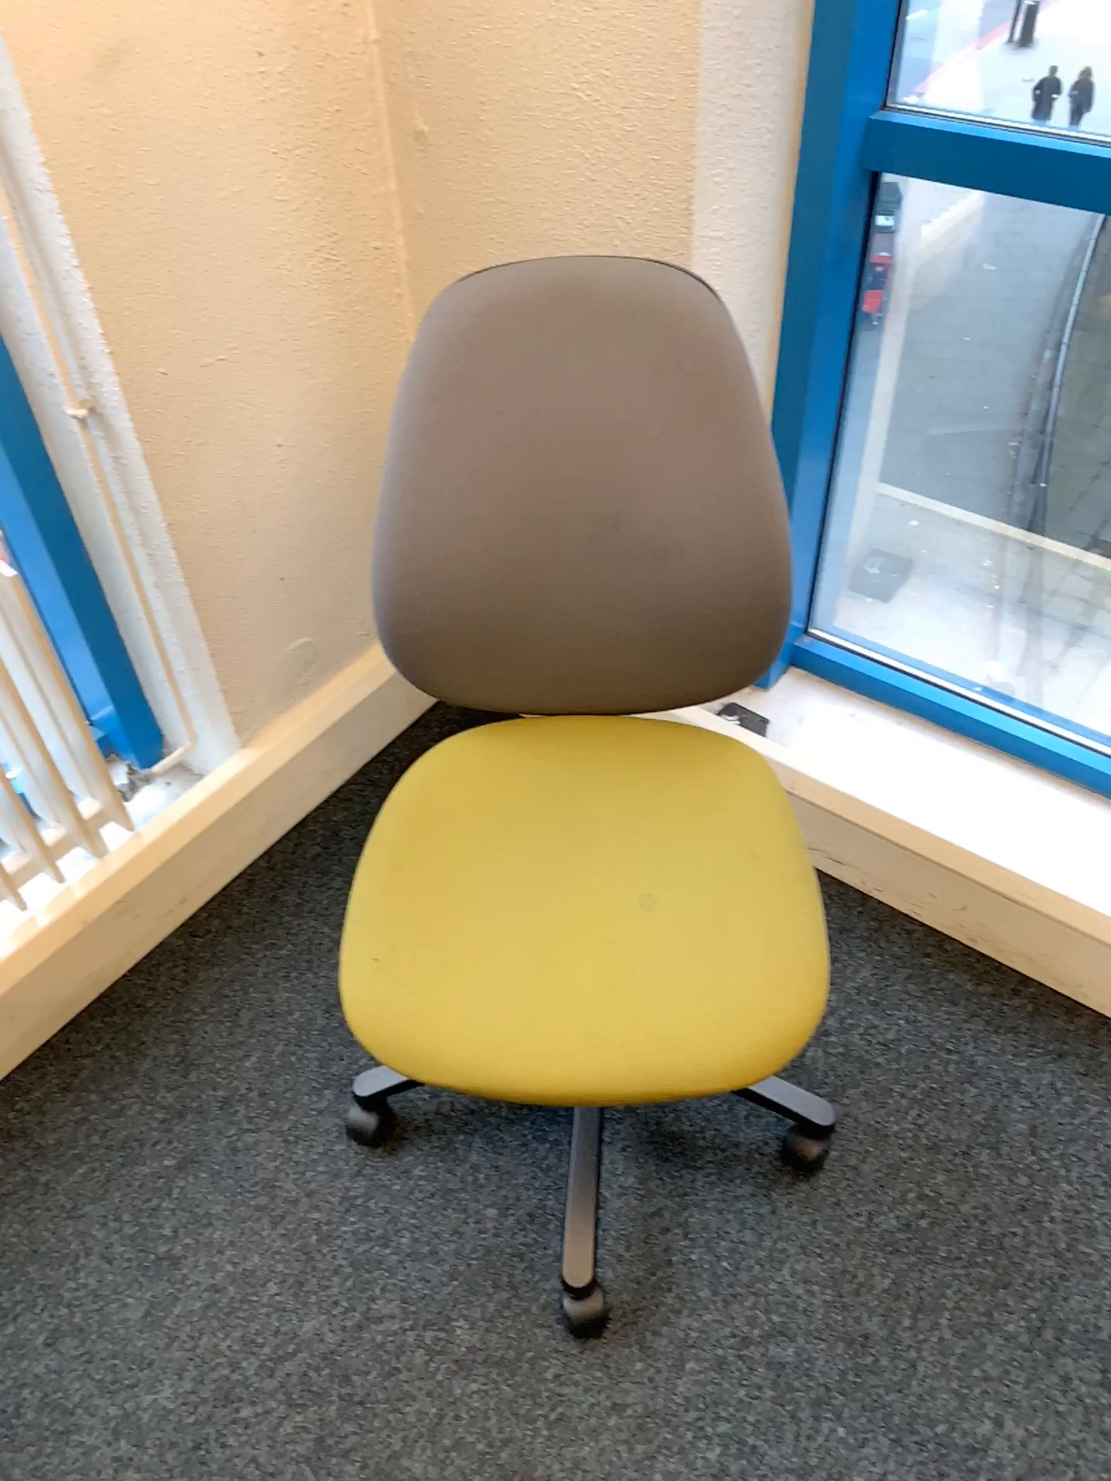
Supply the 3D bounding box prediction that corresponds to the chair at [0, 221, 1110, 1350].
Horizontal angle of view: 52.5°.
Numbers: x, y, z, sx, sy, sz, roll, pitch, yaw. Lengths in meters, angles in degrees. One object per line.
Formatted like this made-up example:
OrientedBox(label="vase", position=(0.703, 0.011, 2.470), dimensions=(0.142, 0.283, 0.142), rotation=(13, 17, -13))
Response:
OrientedBox(label="chair", position=(0.020, 0.081, 1.110), dimensions=(0.692, 0.877, 0.684), rotation=(-1, 44, 2))
